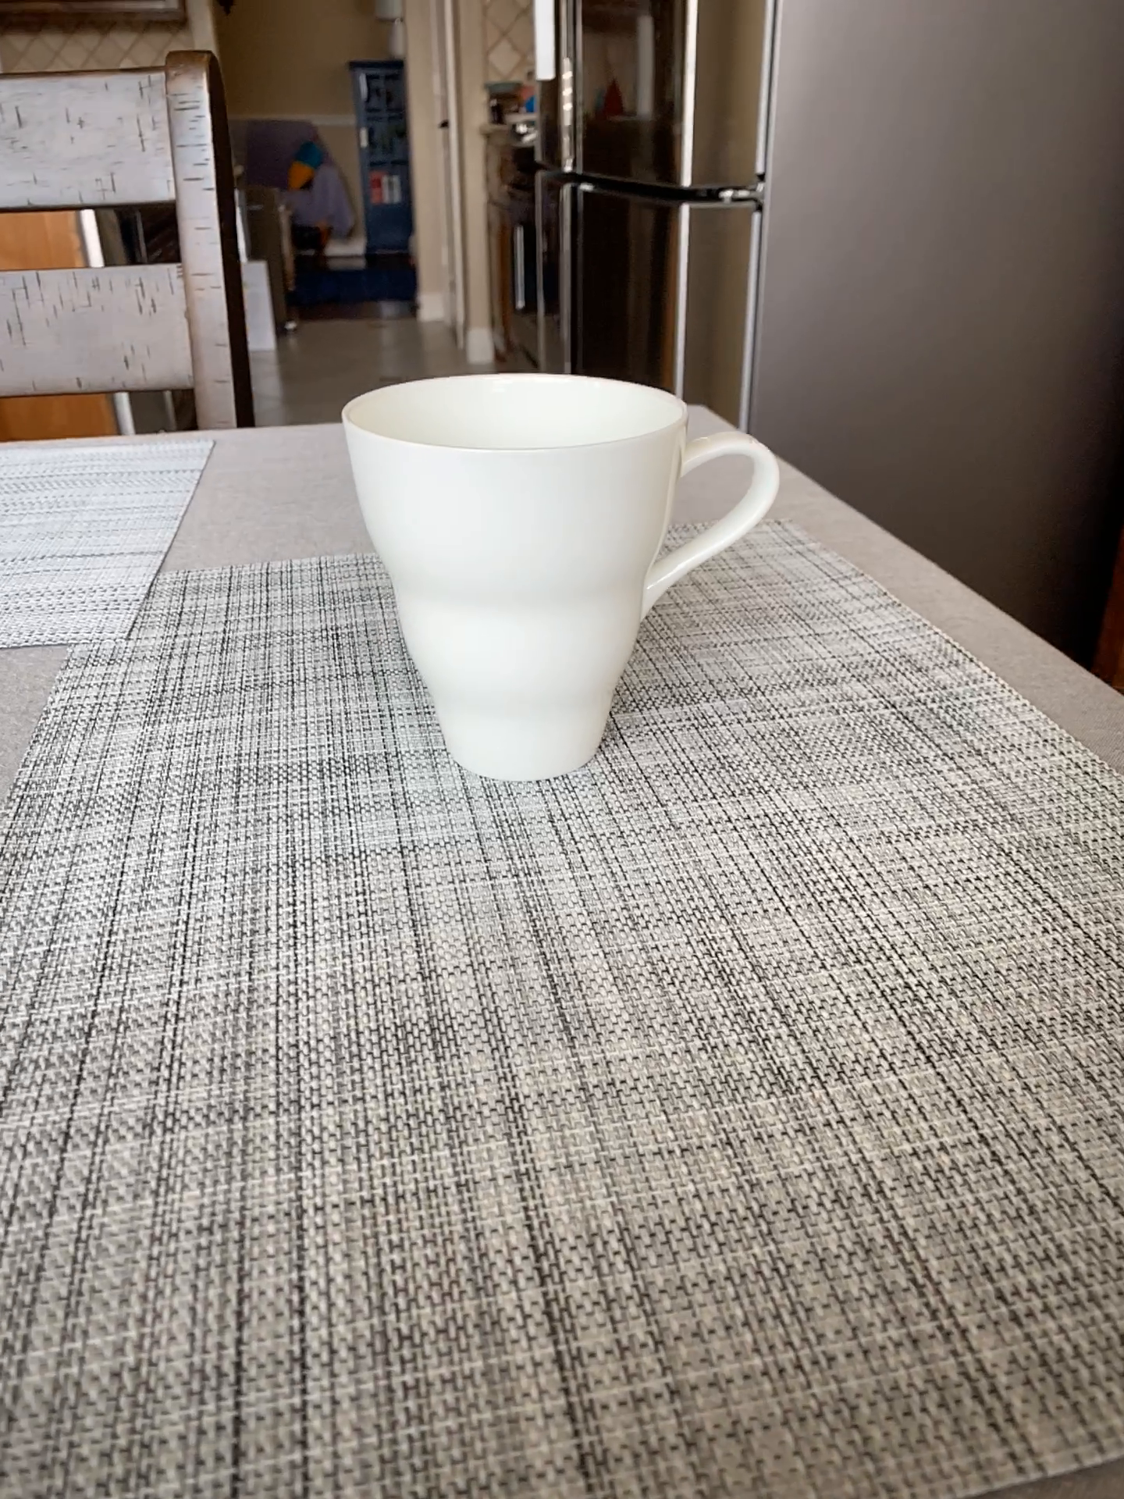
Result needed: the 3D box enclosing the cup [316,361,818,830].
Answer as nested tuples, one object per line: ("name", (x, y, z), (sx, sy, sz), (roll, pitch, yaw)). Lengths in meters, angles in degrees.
("cup", (-0.005, -0.051, 0.345), (0.121, 0.098, 0.099), (-6, 30, -10))
